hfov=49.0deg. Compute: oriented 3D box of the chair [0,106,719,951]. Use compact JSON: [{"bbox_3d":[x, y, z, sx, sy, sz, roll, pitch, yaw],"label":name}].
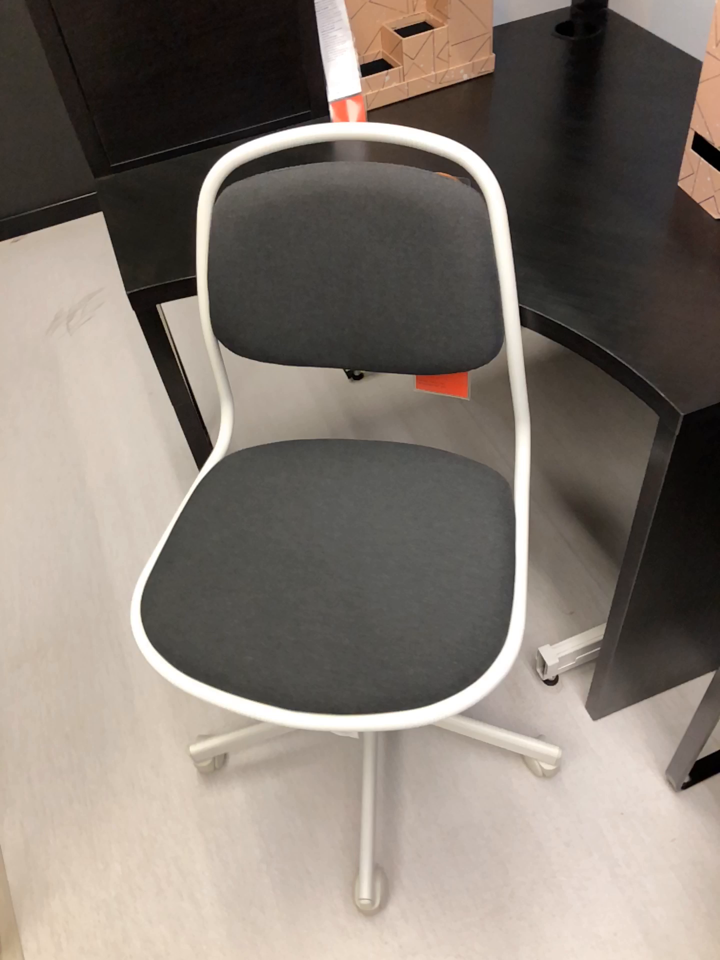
[{"bbox_3d":[-0.033,0.121,1.034,0.660,0.904,0.623,3,50,10],"label":"chair"}]
